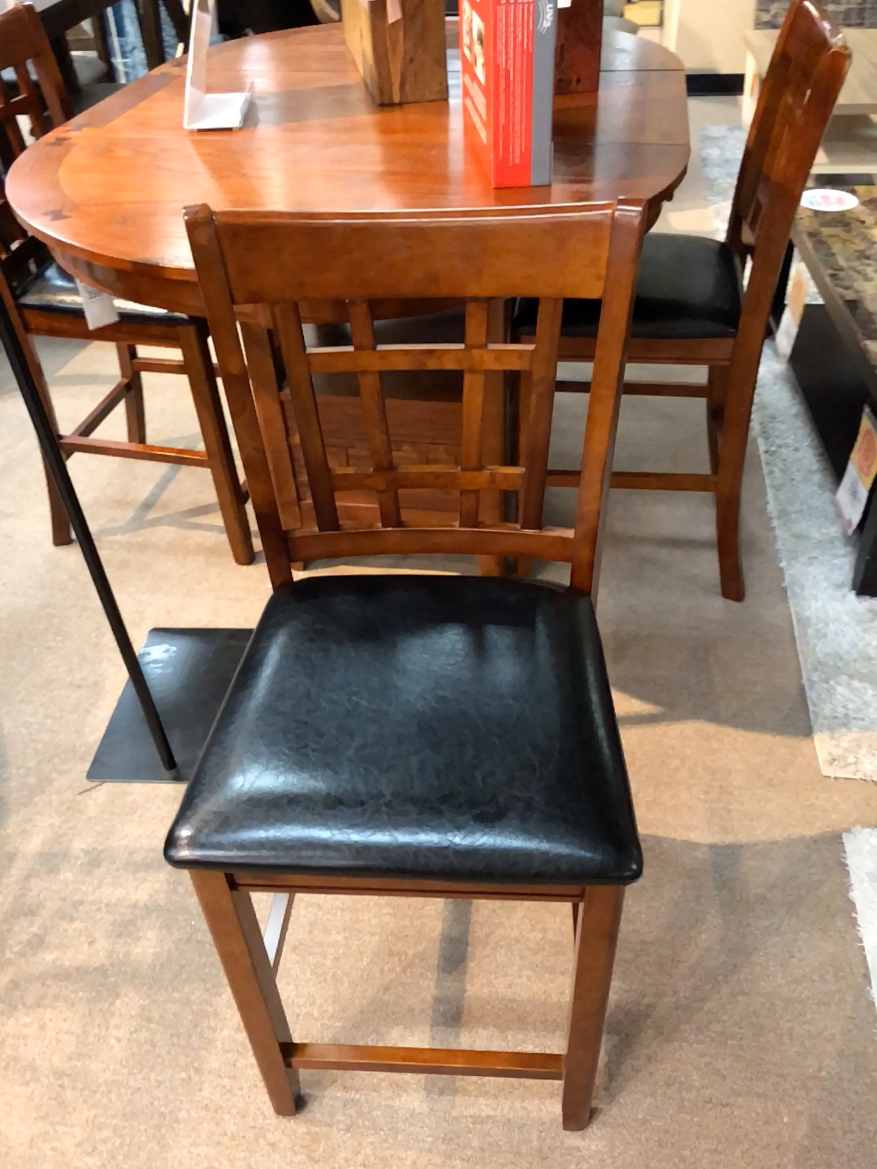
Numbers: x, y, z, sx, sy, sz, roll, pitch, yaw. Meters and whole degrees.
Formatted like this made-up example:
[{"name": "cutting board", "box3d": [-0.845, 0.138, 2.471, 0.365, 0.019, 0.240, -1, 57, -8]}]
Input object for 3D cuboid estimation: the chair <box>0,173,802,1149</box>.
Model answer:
[{"name": "chair", "box3d": [0.002, 0.135, 1.057, 0.470, 0.963, 0.524, 1, 40, 4]}]
